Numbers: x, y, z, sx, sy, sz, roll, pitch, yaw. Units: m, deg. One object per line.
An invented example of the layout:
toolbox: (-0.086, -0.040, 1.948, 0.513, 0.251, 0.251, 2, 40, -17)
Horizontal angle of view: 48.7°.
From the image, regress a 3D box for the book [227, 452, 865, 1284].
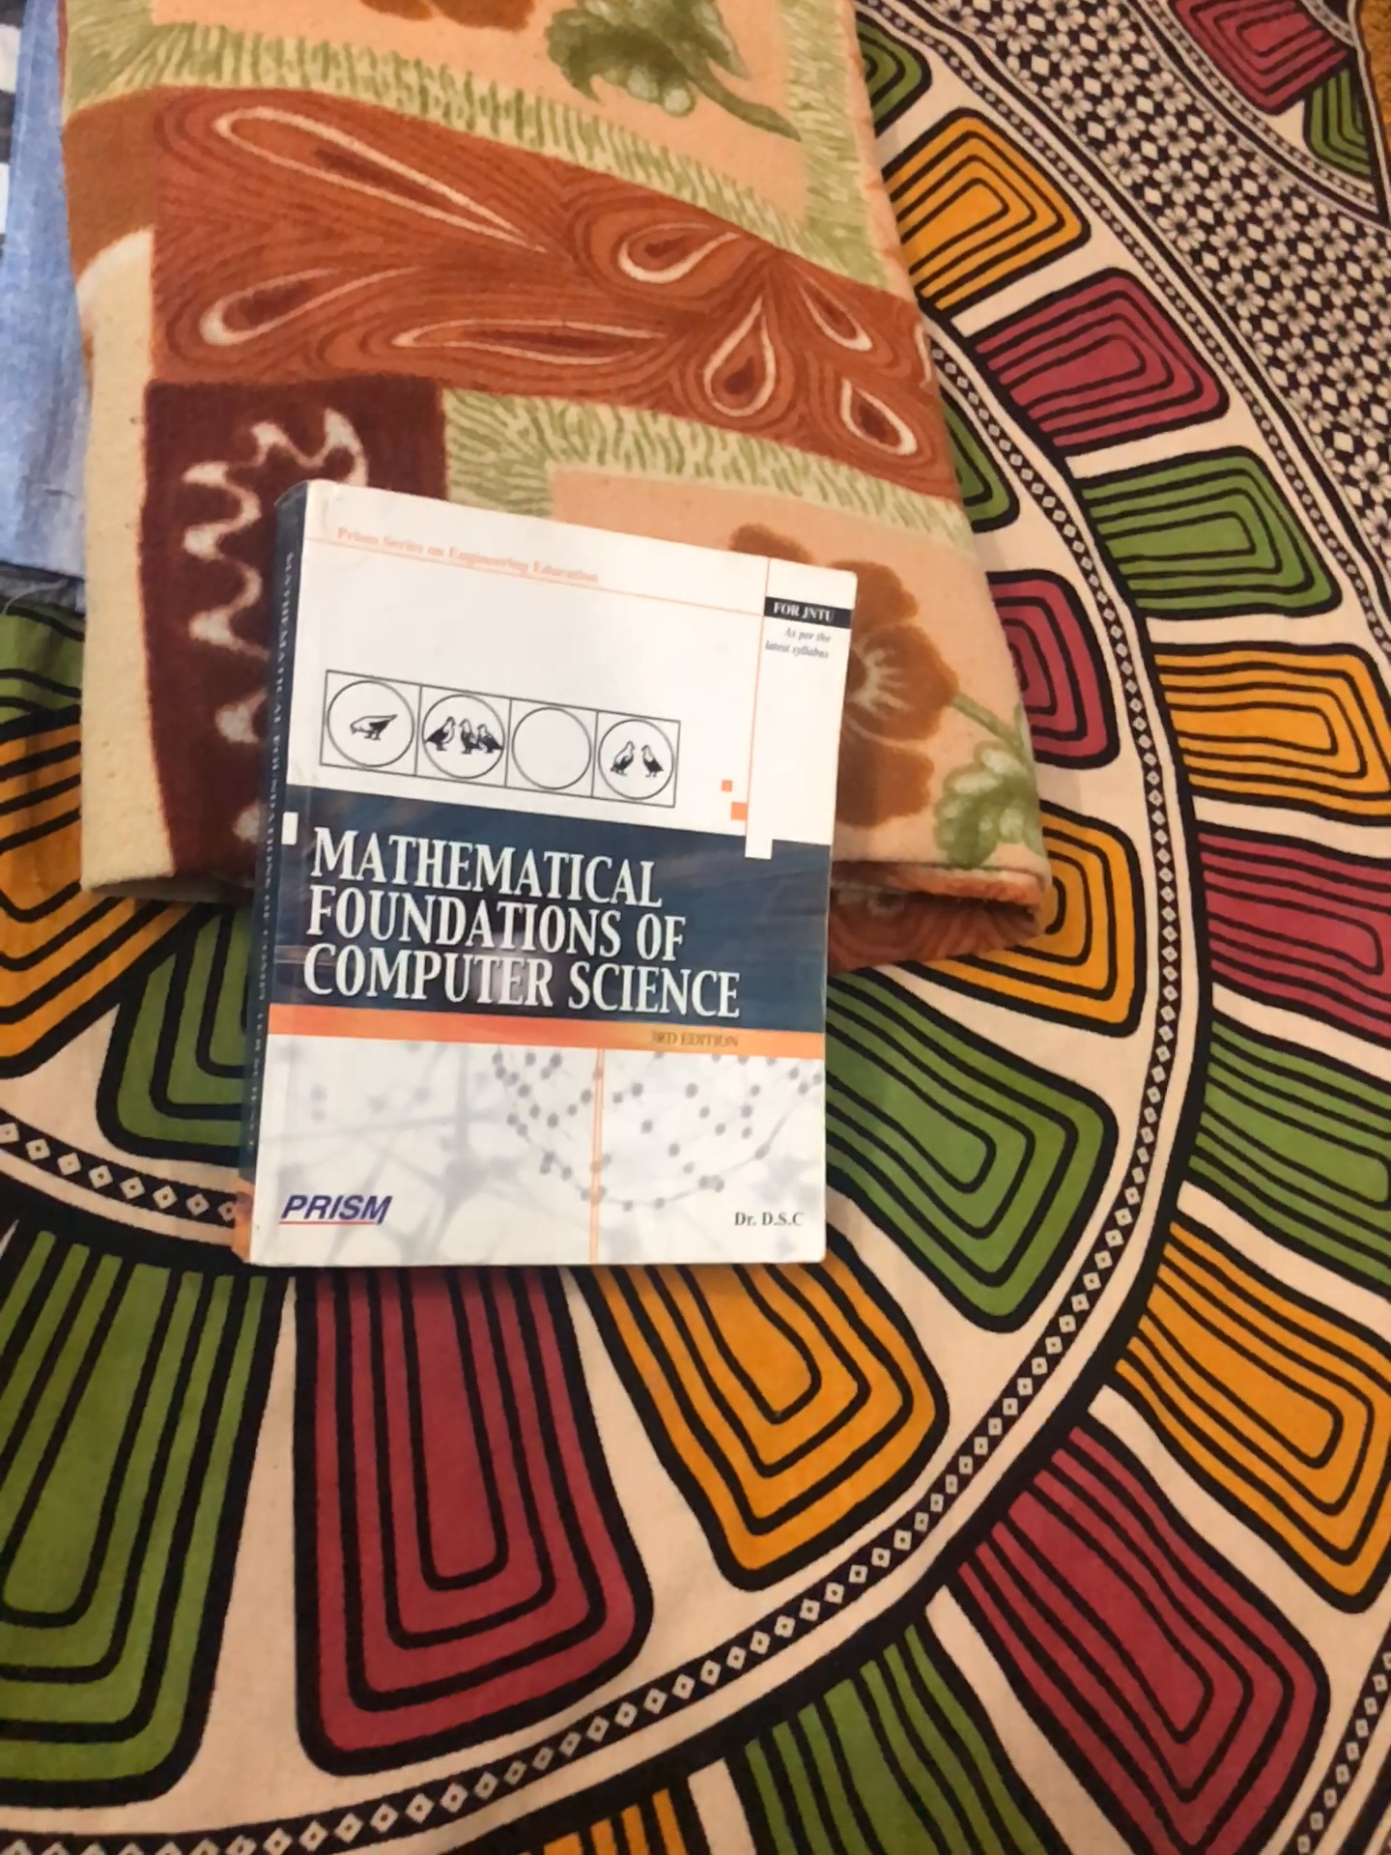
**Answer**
book: (-0.044, -0.012, 0.499, 0.190, 0.060, 0.240, 4, 82, -21)
